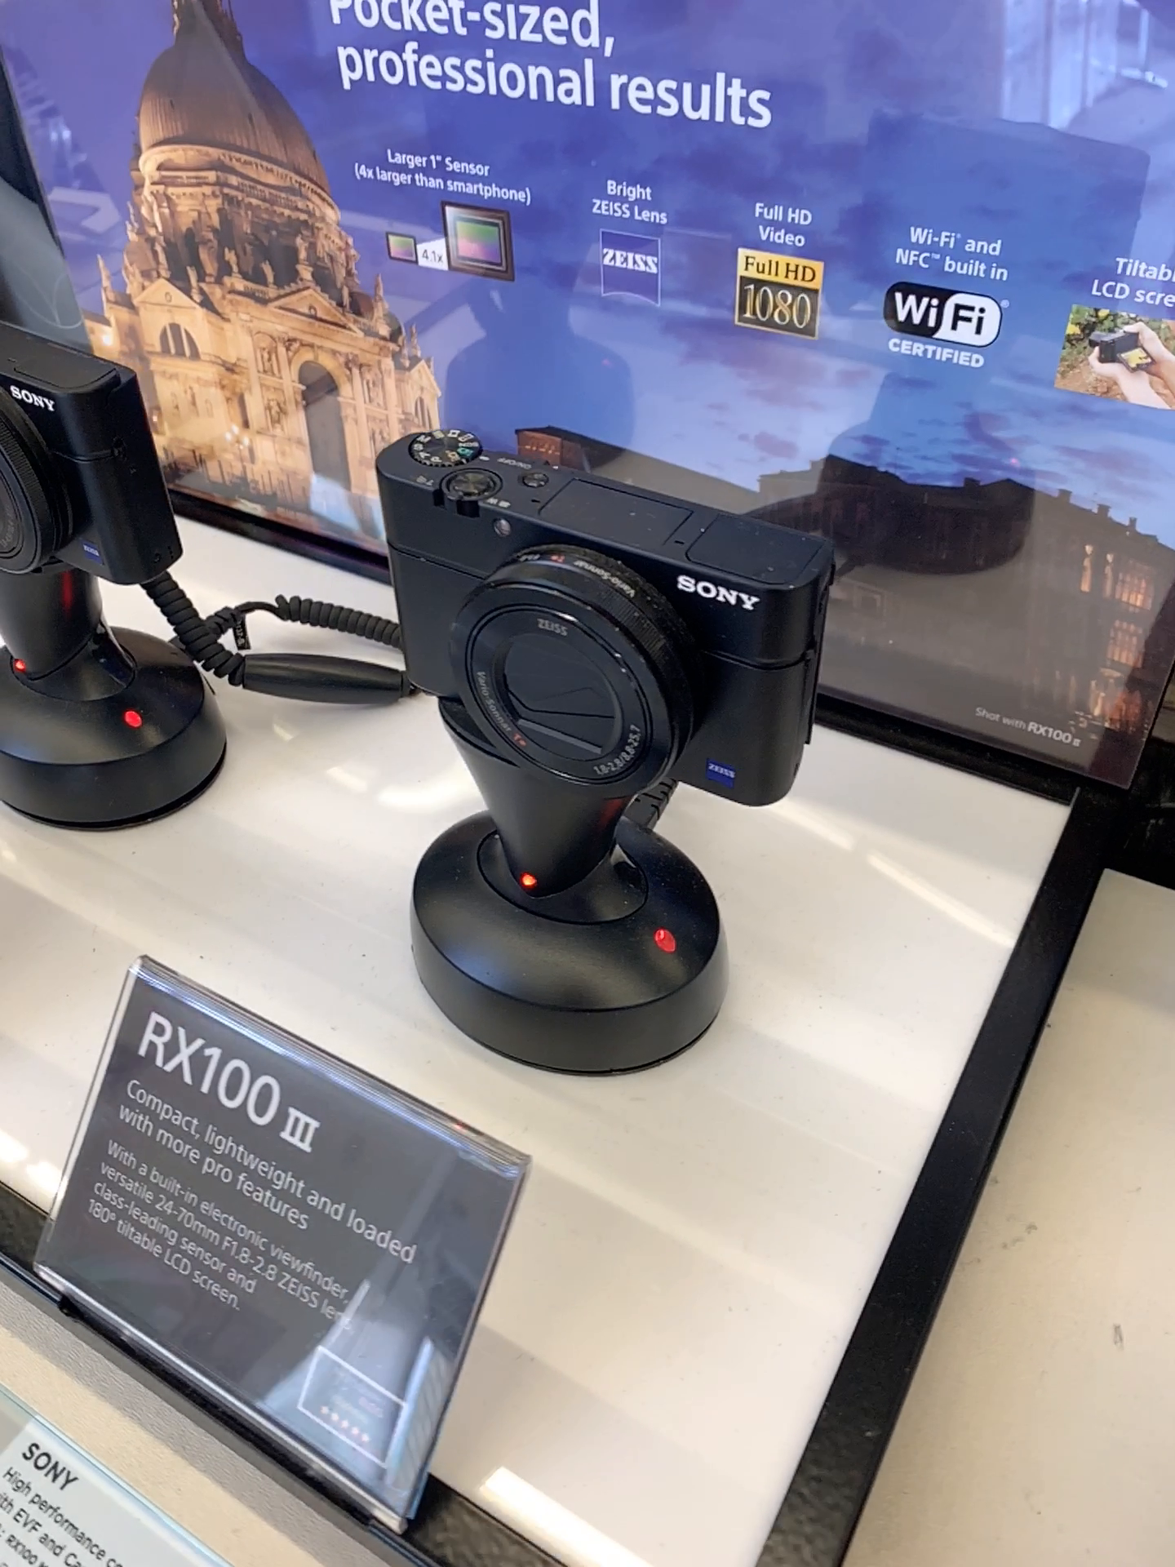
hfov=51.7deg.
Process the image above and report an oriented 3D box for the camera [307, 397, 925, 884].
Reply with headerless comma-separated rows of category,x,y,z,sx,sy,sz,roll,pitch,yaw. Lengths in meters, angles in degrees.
camera,0.006,-0.034,0.257,0.110,0.059,0.050,18,46,22
